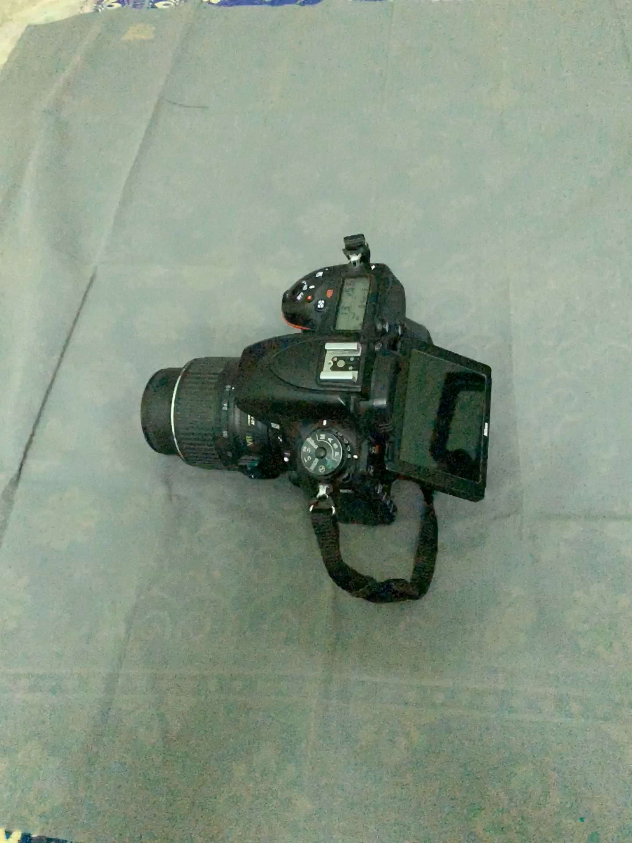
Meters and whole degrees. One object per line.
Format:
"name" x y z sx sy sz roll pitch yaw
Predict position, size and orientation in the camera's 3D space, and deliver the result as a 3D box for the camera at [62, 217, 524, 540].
"camera" -0.004 -0.029 0.404 0.230 0.100 0.166 2 59 8
